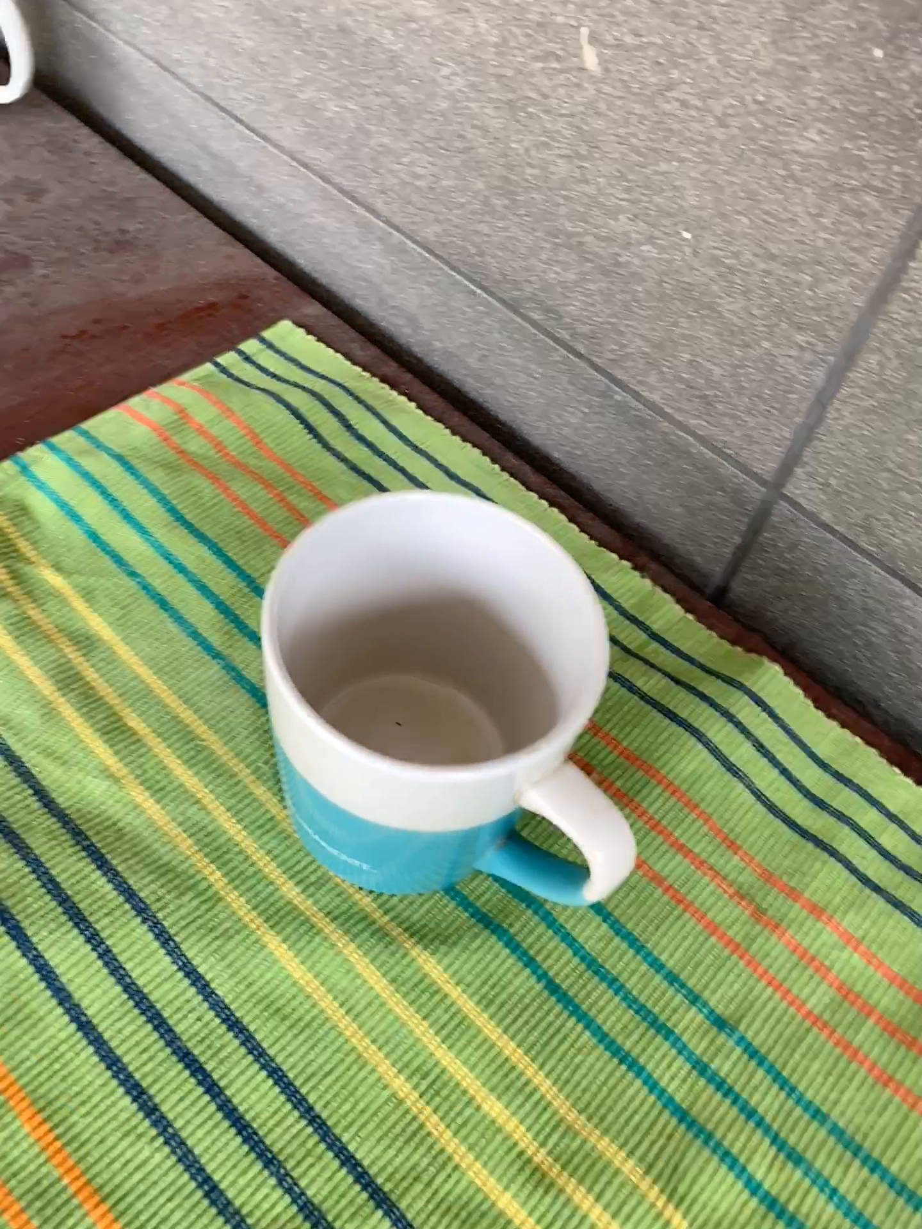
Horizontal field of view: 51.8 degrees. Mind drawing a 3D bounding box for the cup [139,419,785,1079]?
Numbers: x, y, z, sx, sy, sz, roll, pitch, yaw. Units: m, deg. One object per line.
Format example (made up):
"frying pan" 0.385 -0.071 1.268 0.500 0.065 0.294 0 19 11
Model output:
"cup" -0.006 0.037 0.287 0.140 0.100 0.100 39 55 20
